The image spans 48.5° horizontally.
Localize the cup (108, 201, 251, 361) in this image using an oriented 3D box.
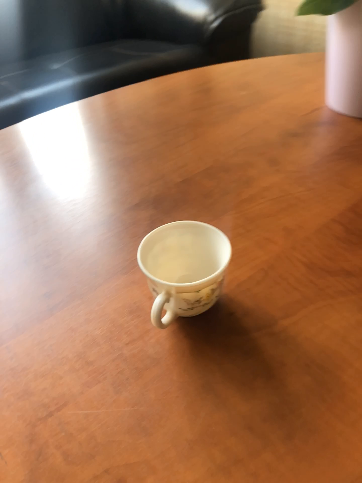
[{"bbox_3d":[0.004,0.022,0.267,0.063,0.048,0.084,12,44,18],"label":"cup"}]
